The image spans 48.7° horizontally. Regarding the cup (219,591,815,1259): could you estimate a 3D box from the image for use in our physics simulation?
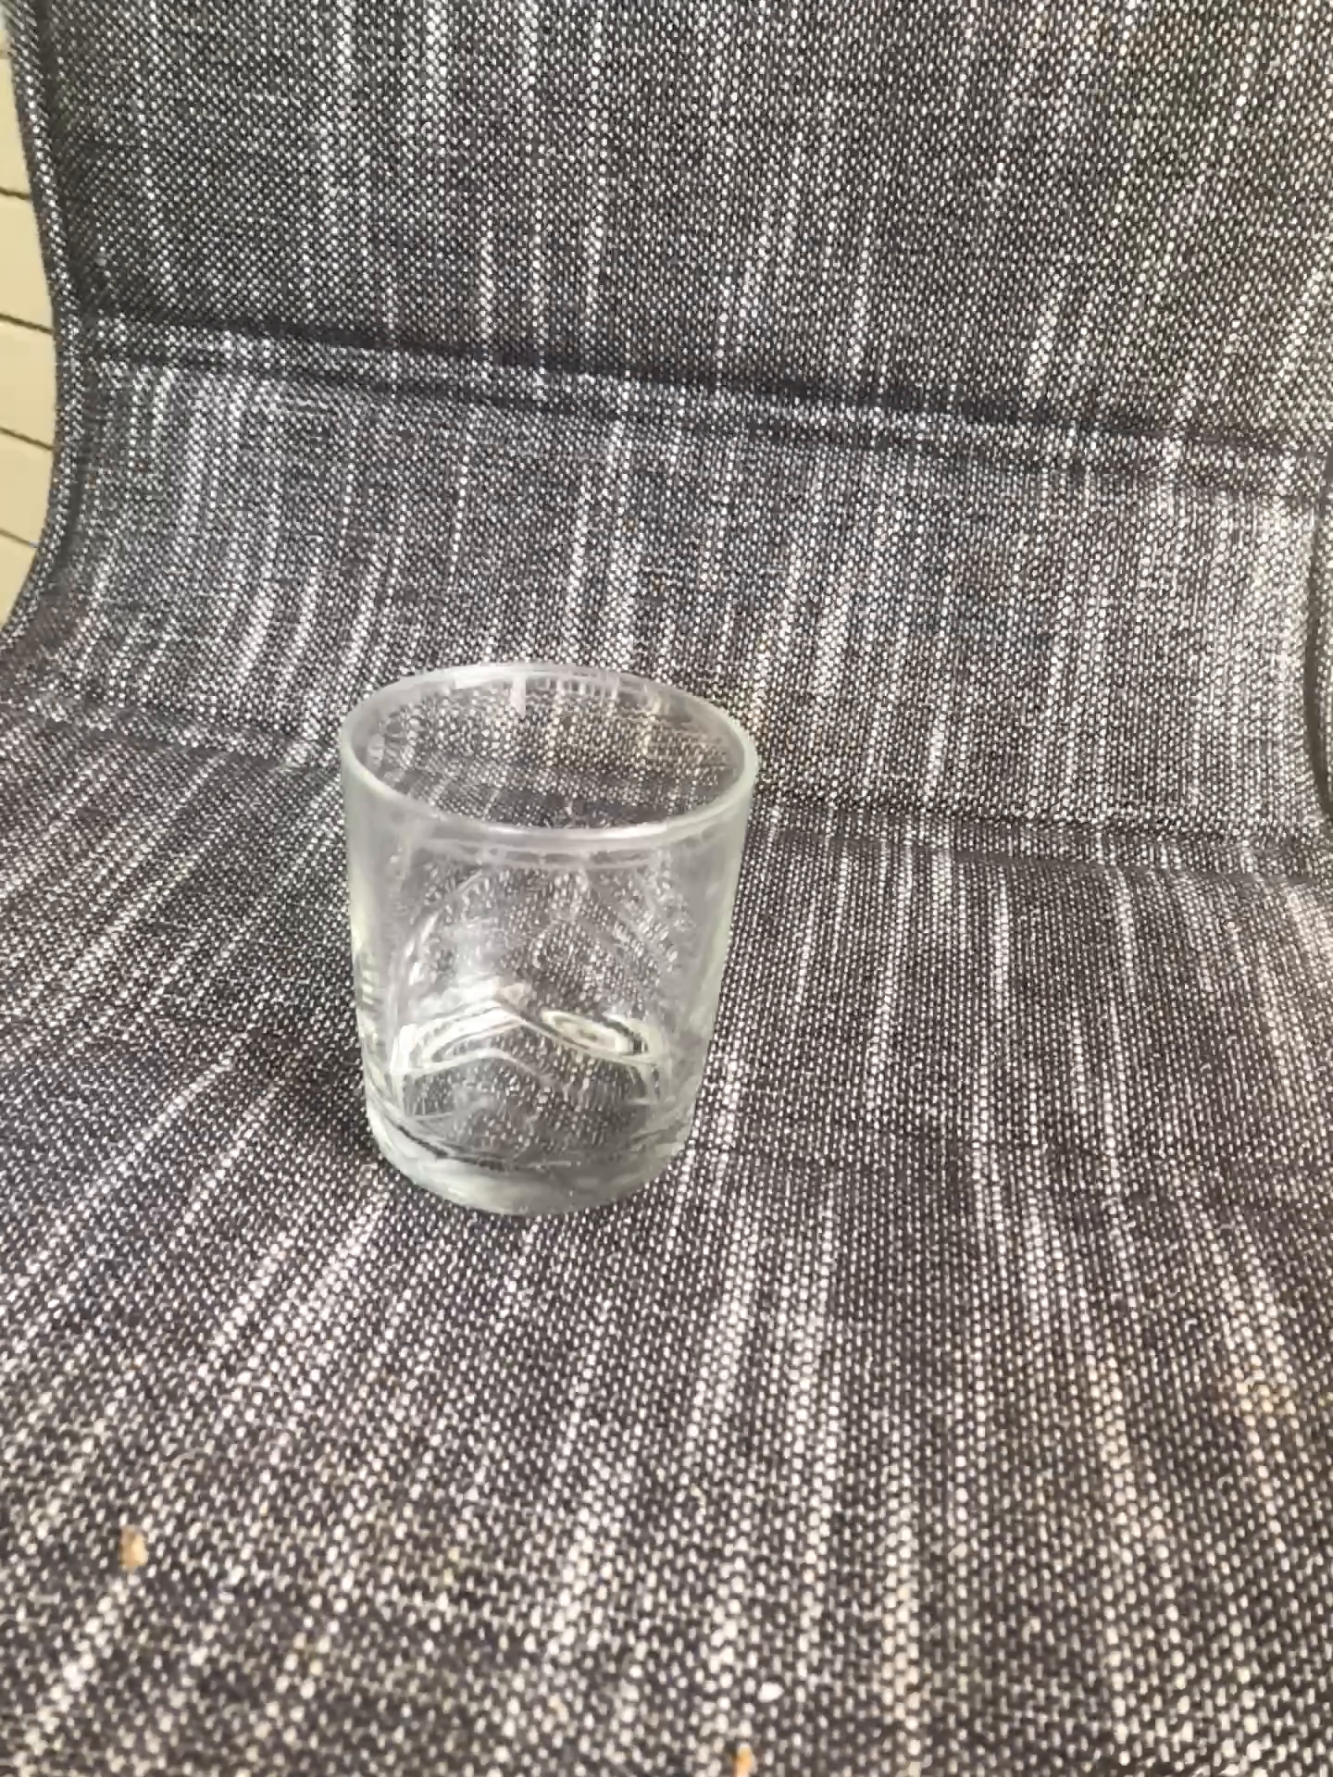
[{"bbox_3d":[-0.026,0.002,0.266,0.070,0.080,0.070,3,31,-2],"label":"cup"}]
